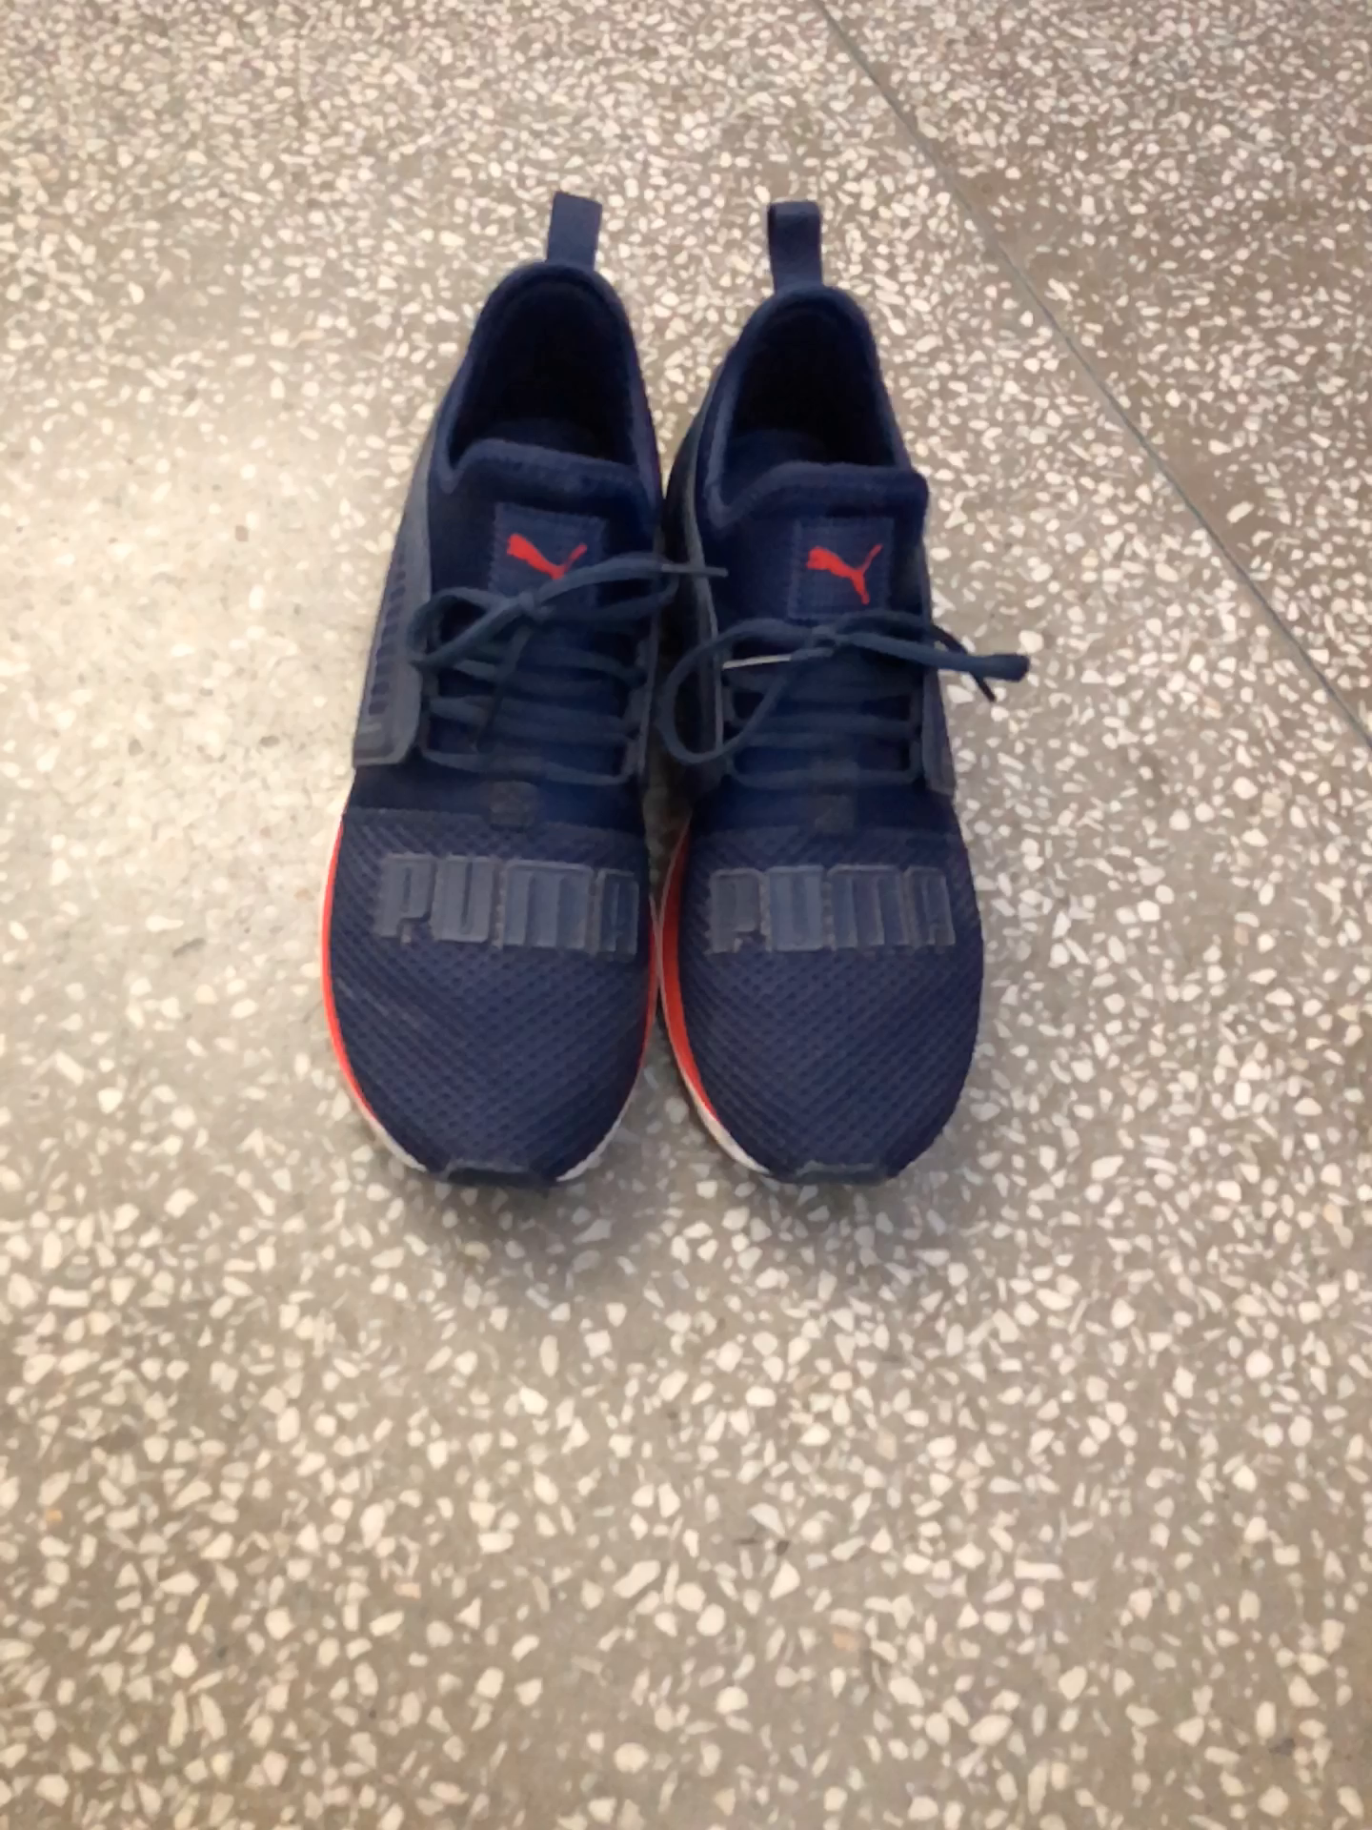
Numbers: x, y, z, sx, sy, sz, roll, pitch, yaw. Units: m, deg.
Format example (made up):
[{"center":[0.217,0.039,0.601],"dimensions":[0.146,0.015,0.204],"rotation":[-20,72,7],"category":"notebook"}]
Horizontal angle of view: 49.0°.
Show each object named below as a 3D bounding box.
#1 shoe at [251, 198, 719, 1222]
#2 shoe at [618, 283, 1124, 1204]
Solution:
[{"center":[-0.058,-0.061,0.425],"dimensions":[0.100,0.100,0.270],"rotation":[-1,66,-8],"category":"shoe"},{"center":[0.038,-0.048,0.434],"dimensions":[0.100,0.120,0.230],"rotation":[-3,66,-3],"category":"shoe"}]
